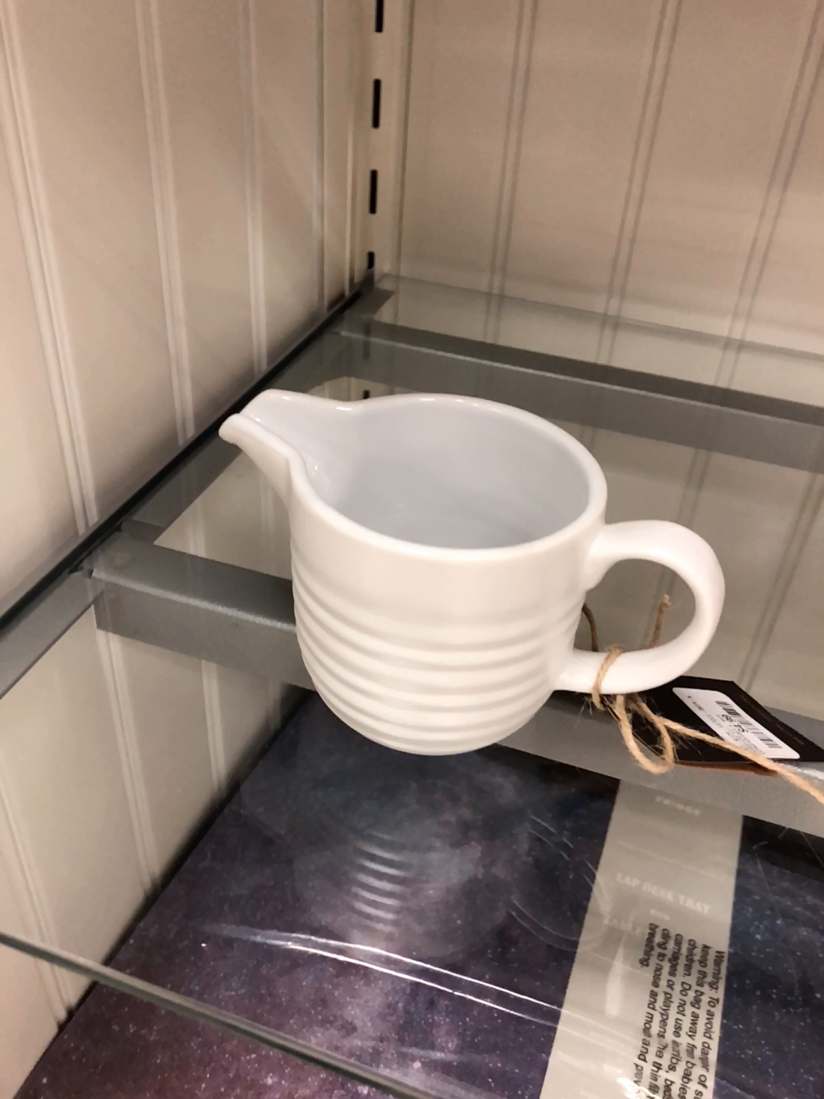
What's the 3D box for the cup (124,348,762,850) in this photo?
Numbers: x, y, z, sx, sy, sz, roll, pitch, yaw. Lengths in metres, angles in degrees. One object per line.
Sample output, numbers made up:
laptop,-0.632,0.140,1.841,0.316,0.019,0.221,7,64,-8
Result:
cup,0.008,0.006,0.243,0.140,0.069,0.071,16,38,15
